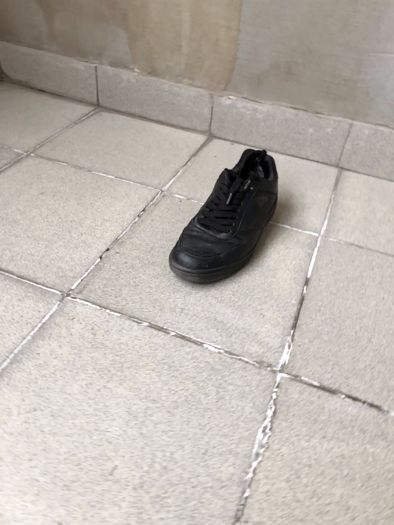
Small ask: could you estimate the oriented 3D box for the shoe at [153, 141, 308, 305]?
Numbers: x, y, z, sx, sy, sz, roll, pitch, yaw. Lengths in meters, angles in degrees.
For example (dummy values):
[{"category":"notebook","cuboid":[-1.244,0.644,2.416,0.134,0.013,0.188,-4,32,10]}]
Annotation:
[{"category":"shoe","cuboid":[0.062,-0.079,0.685,0.110,0.099,0.292,25,45,19]}]
